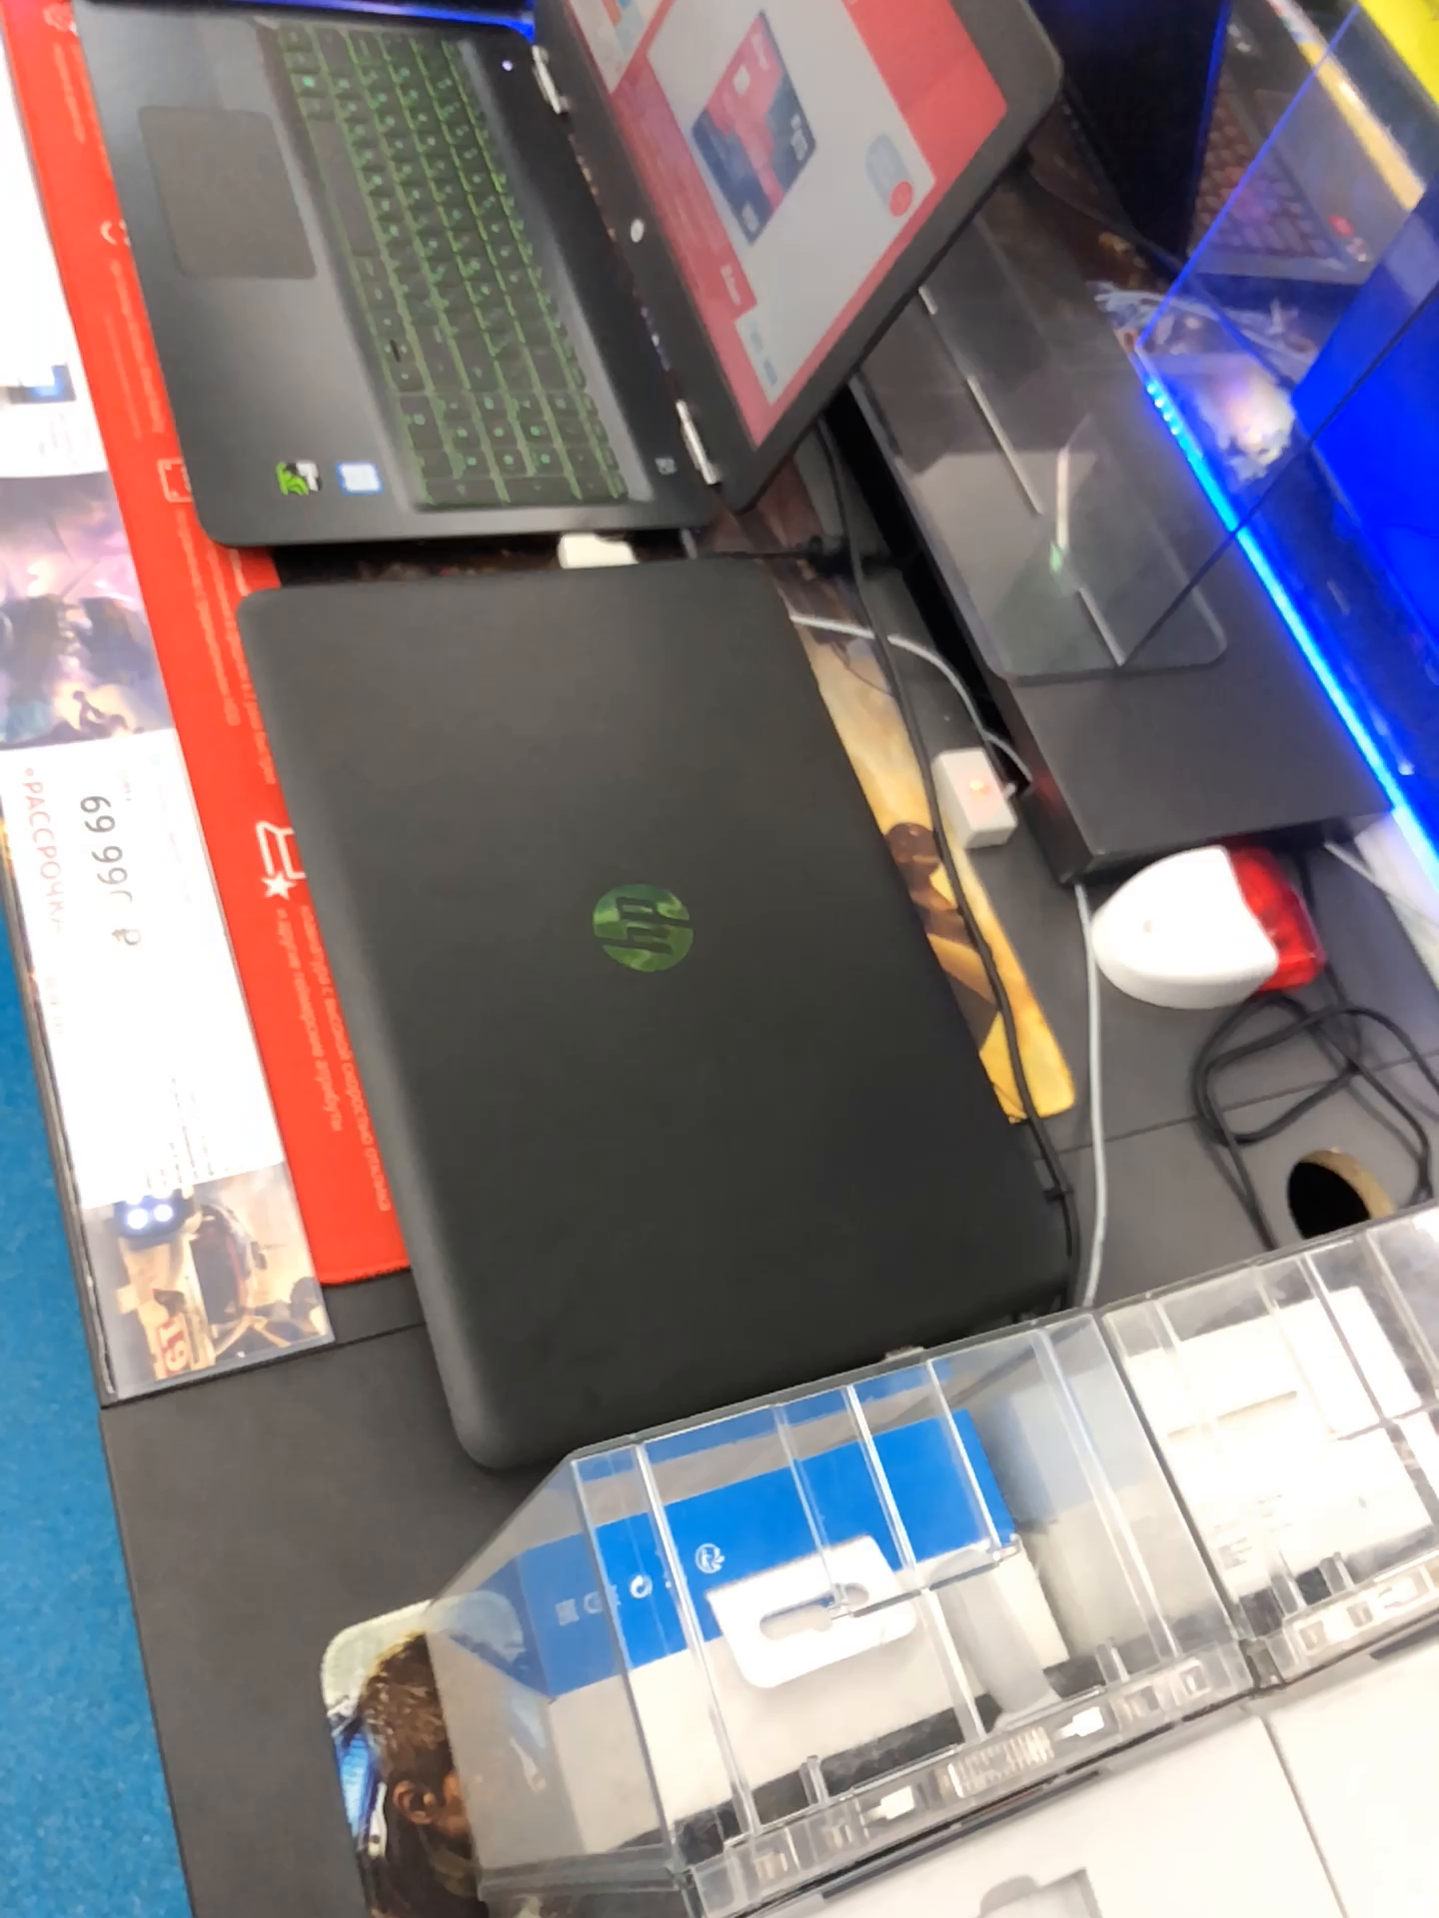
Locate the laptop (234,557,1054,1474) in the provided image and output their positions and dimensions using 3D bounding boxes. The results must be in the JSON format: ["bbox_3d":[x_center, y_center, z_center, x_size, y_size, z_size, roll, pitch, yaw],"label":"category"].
[{"bbox_3d":[-0.038,-0.011,0.646,0.240,0.006,0.372,-10,65,-23],"label":"laptop"}]
